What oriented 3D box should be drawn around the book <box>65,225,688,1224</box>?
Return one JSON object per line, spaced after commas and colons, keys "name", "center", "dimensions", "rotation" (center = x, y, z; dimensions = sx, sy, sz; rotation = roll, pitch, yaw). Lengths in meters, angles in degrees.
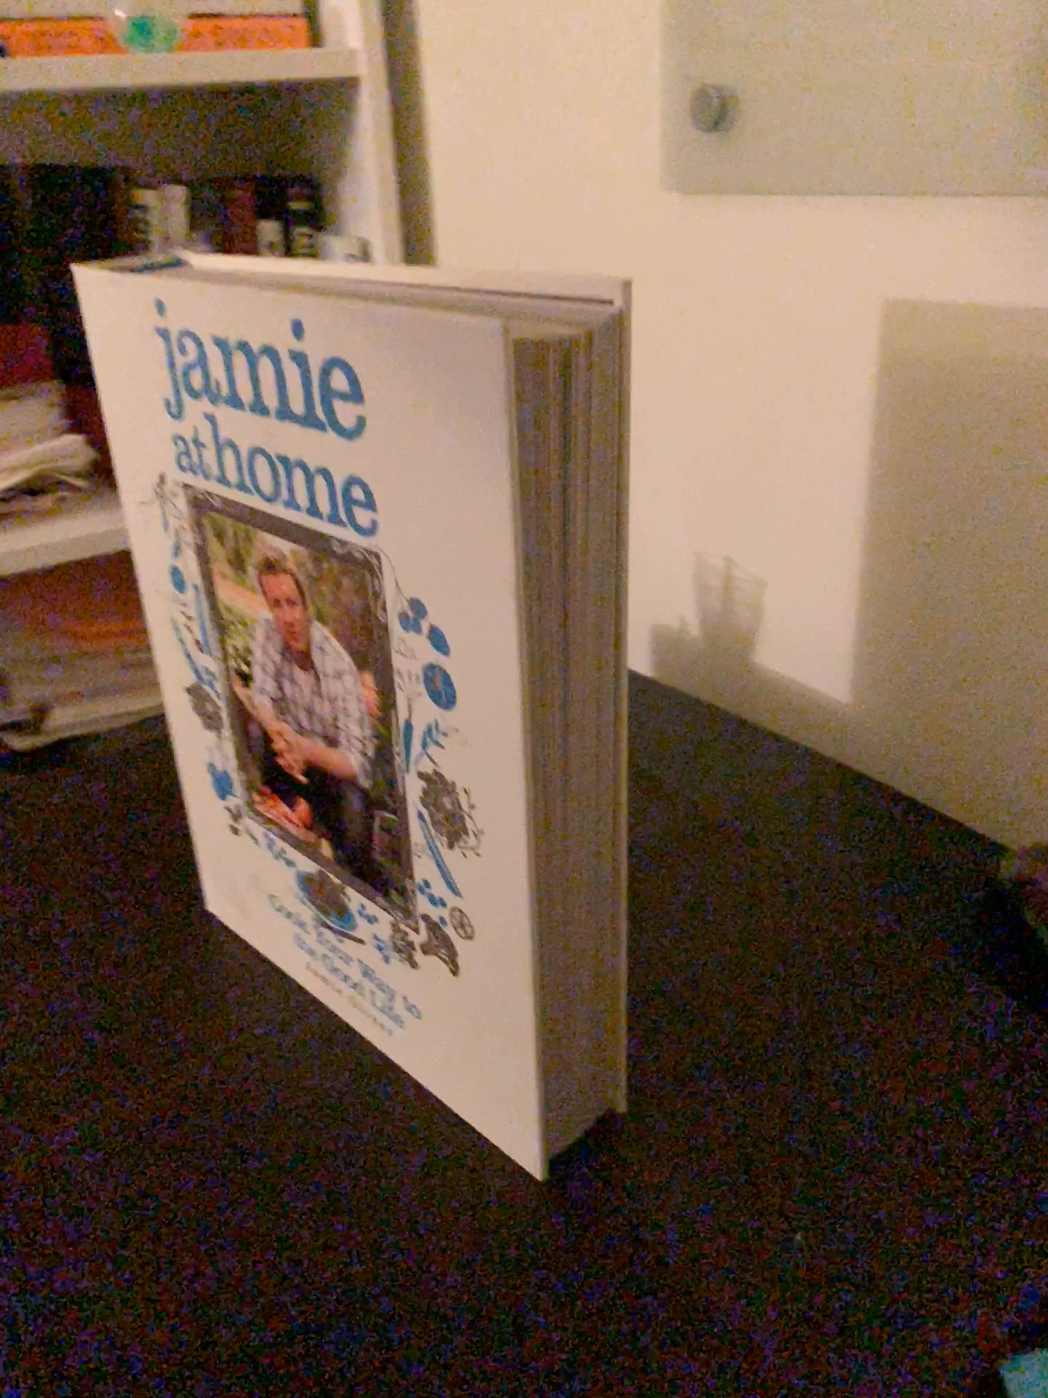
{"name": "book", "center": [-0.048, -0.003, 0.349], "dimensions": [0.050, 0.268, 0.211], "rotation": [-25, 34, -37]}
